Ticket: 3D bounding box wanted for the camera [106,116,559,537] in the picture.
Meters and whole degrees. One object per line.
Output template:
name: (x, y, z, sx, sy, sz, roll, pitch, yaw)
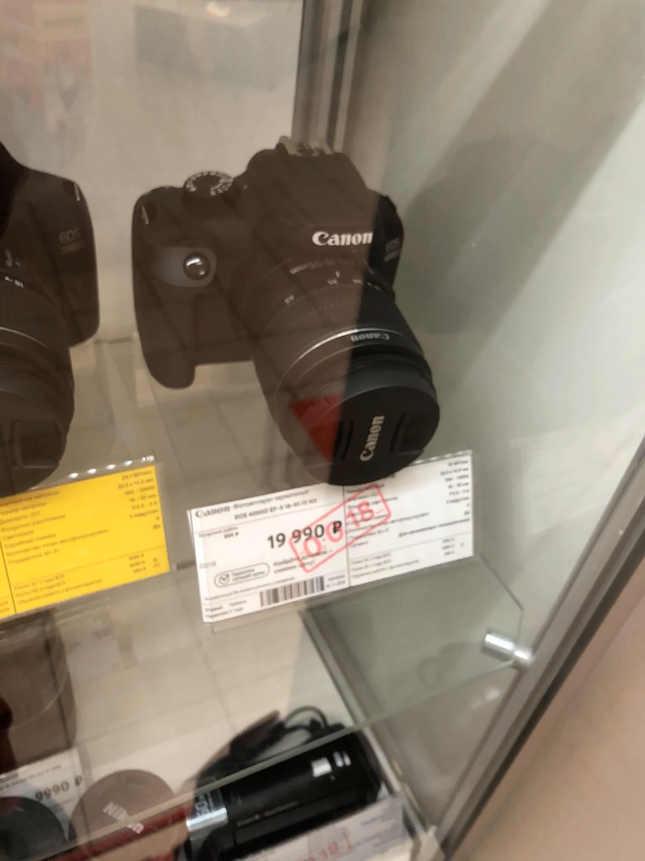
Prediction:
camera: (-0.010, -0.056, 0.306, 0.125, 0.099, 0.147, -10, 44, -22)
